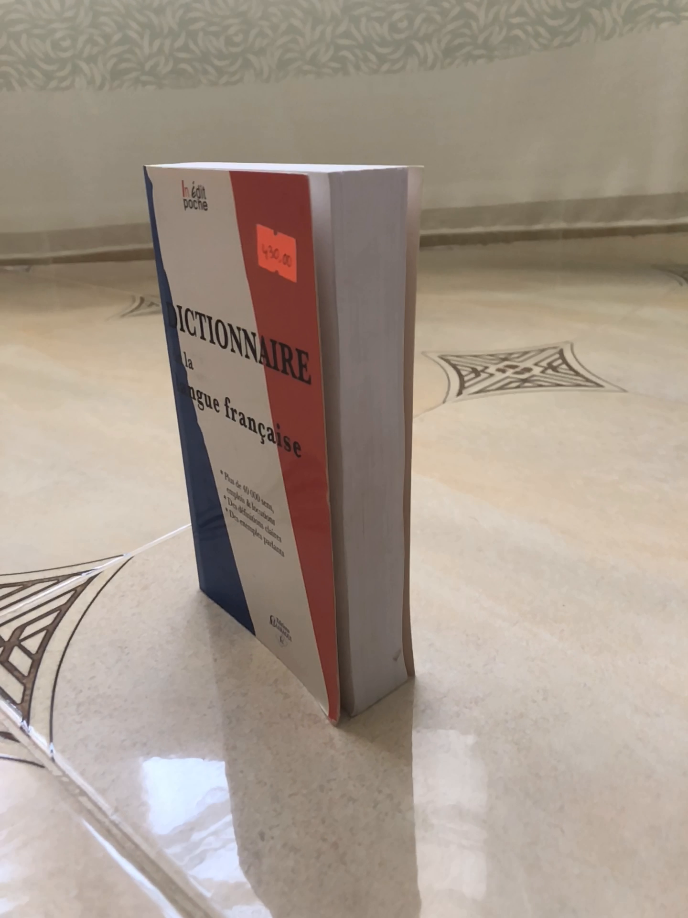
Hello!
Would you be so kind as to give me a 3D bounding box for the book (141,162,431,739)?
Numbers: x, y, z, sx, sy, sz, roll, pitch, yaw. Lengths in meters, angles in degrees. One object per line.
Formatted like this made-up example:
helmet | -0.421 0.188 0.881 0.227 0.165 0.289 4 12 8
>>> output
book | -0.022 -0.010 0.281 0.034 0.182 0.121 -18 28 -31
